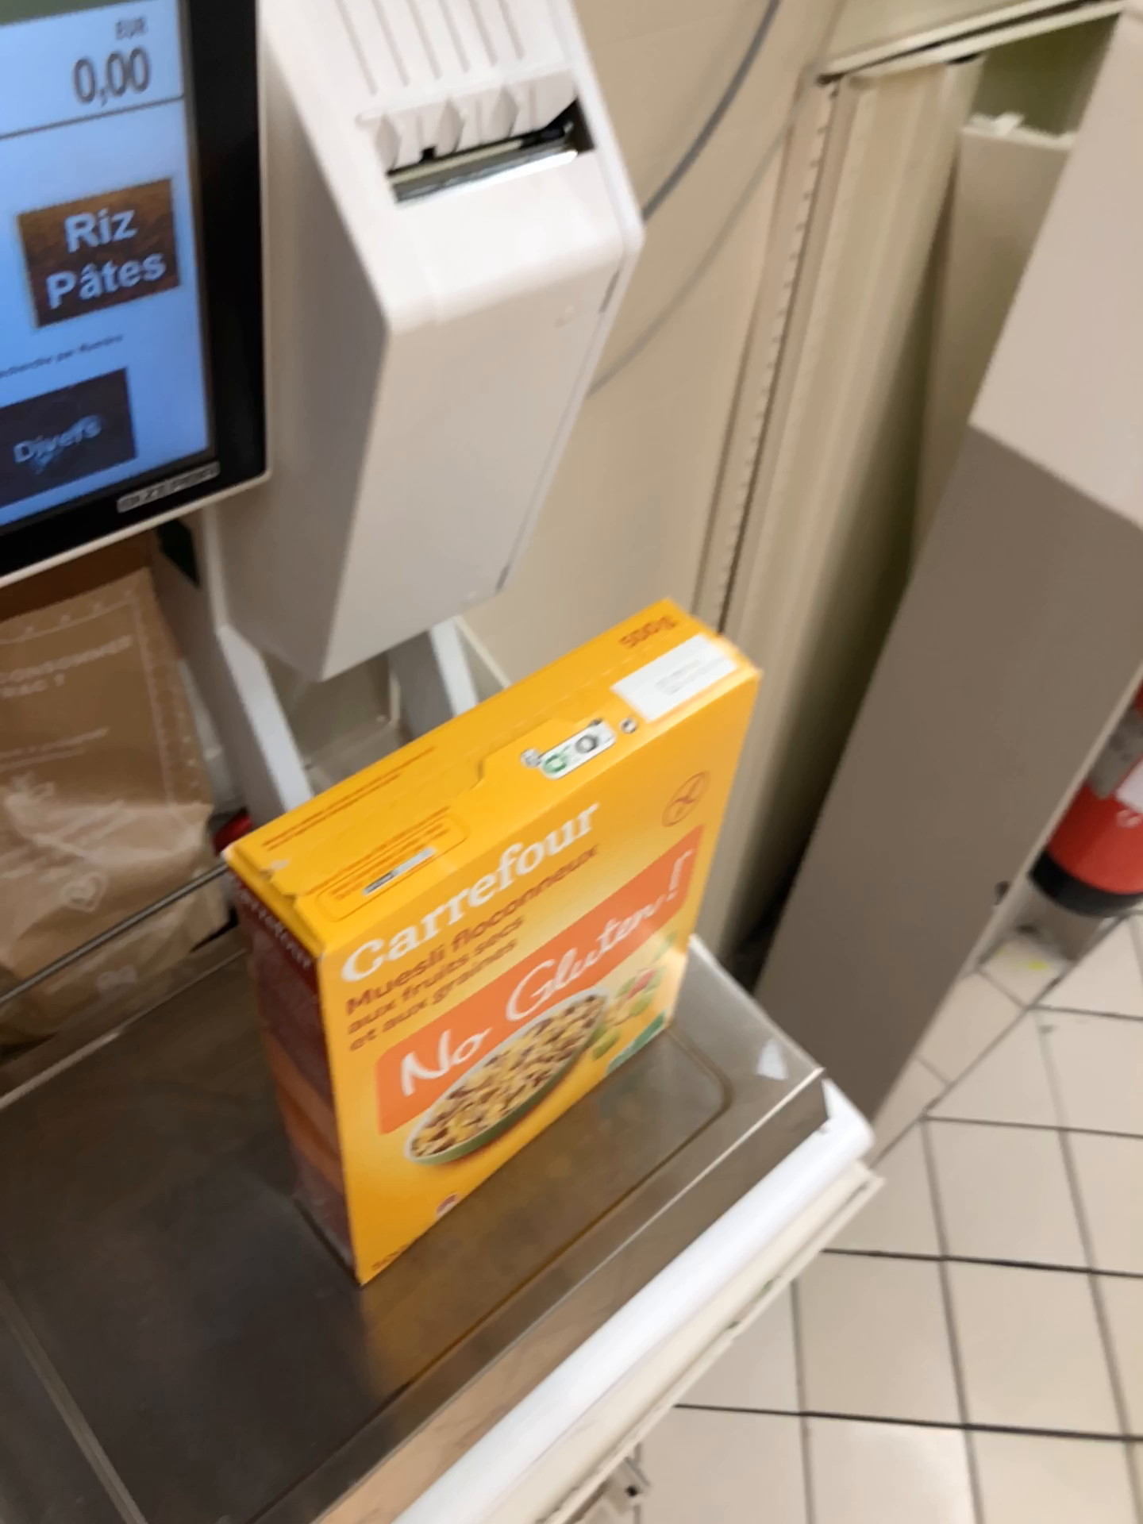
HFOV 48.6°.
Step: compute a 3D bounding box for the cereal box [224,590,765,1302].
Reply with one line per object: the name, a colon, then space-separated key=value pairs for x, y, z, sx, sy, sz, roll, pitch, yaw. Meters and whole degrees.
cereal box: x=-0.029 y=0.083 z=0.502 sx=0.050 sy=0.259 sz=0.191 roll=39 pitch=55 yaw=25
